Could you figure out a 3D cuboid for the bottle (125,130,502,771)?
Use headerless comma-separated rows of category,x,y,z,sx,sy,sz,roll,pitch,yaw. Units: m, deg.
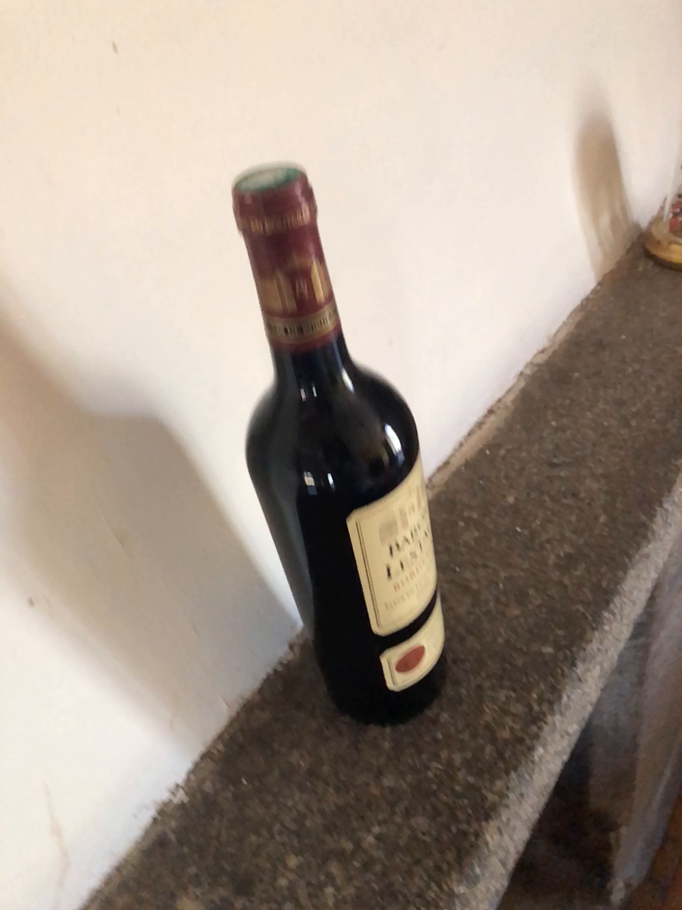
bottle,0.011,0.019,0.325,0.070,0.278,0.080,21,51,34
